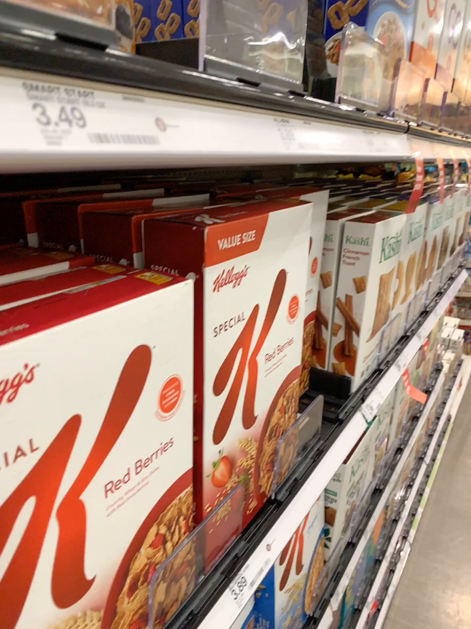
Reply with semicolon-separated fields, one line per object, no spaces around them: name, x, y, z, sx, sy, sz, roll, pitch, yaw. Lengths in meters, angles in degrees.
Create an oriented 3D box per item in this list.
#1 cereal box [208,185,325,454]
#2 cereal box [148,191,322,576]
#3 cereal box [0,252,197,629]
cereal box;0.046;-0.006;0.680;0.060;0.329;0.201;13;21;27
cereal box;0.004;0.050;0.478;0.060;0.319;0.201;13;21;28
cereal box;-0.110;0.121;0.321;0.060;0.289;0.201;13;21;27
